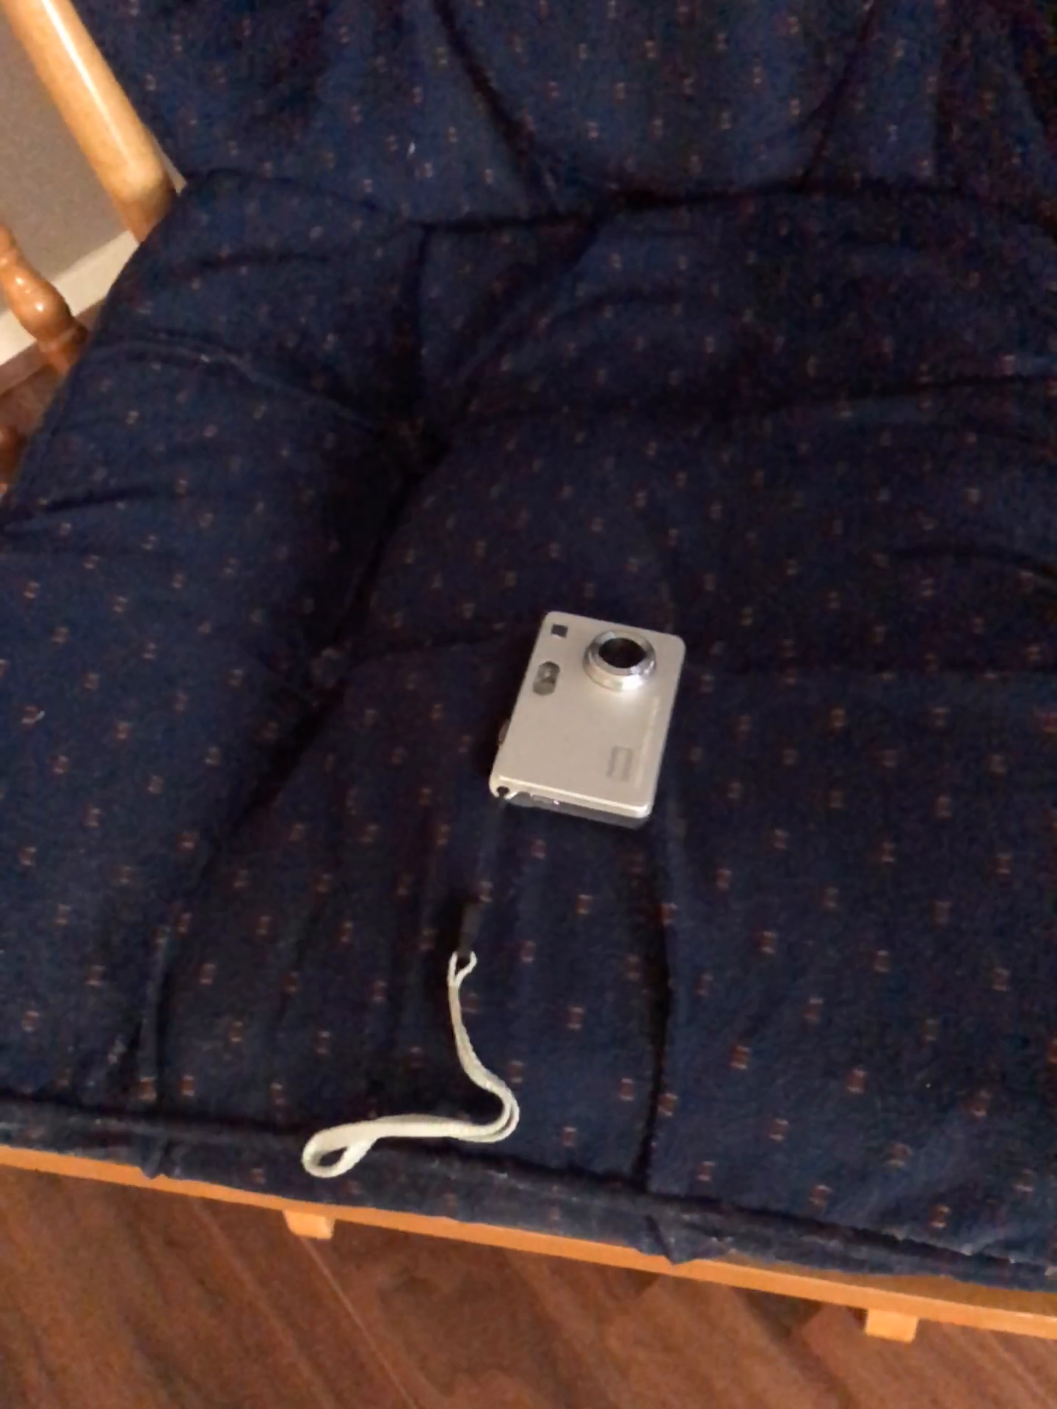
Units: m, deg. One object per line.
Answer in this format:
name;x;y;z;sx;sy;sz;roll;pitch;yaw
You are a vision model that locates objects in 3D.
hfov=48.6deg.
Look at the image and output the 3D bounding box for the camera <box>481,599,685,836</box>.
camera;0.021;0.002;0.430;0.058;0.018;0.085;11;52;7
